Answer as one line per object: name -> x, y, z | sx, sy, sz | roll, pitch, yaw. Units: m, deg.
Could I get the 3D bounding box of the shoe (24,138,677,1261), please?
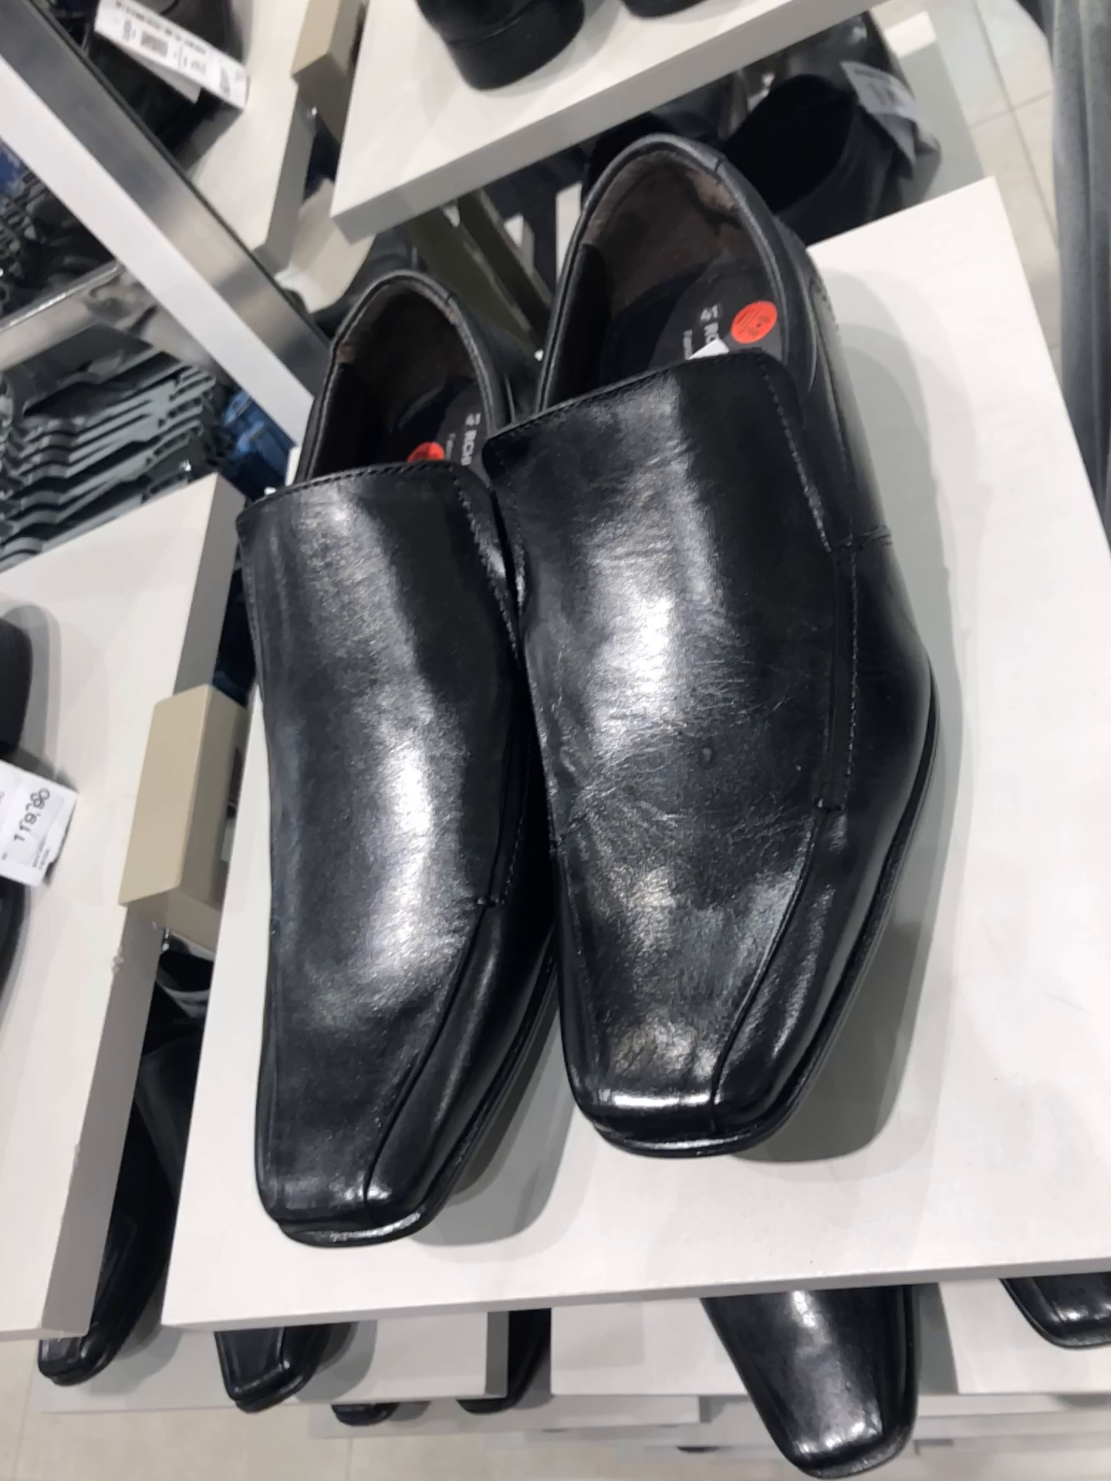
shoe -> -0.036, -0.020, 0.358 | 0.110, 0.099, 0.301 | -13, 55, 25

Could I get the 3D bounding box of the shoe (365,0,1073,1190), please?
shoe -> 0.043, -0.044, 0.317 | 0.110, 0.099, 0.281 | -13, 55, 25
